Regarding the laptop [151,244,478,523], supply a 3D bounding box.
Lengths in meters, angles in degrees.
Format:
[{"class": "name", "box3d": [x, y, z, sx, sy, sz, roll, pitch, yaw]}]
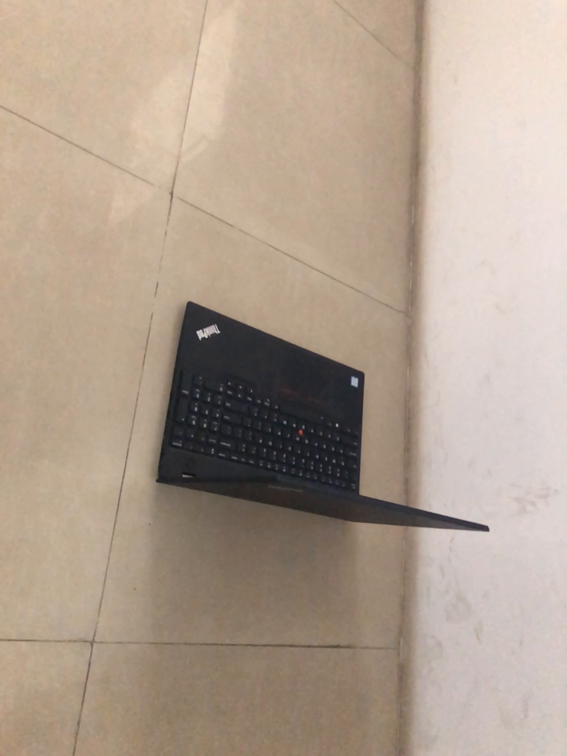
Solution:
[{"class": "laptop", "box3d": [0.057, 0.043, 0.842, 0.354, 0.240, 0.255, 21, 67, -37]}]
